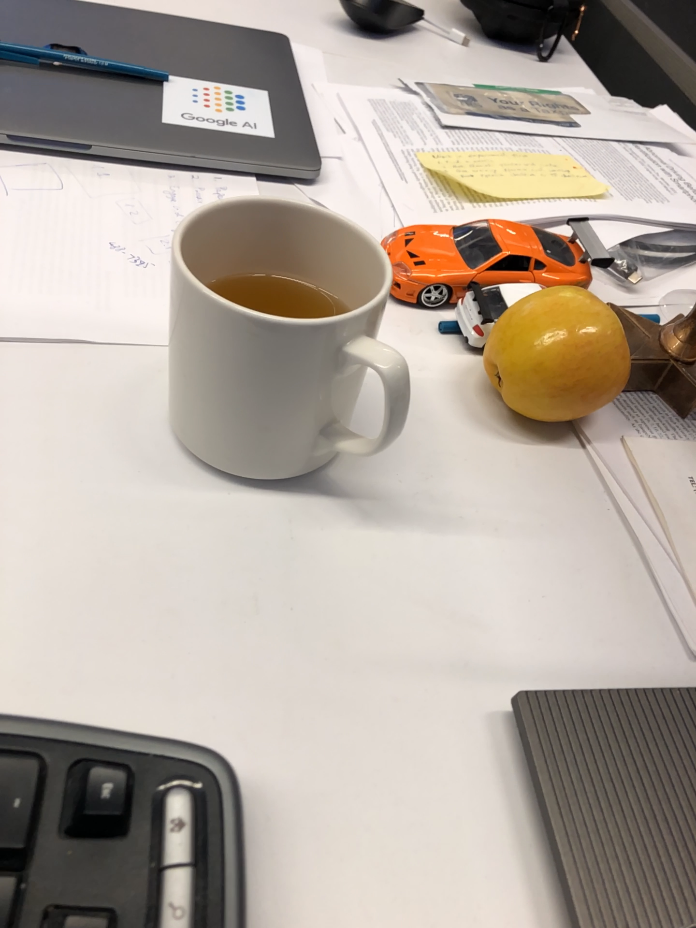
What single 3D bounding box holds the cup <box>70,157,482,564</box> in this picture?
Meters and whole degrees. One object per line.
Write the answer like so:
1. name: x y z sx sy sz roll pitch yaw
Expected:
1. cup: -0.031 -0.044 0.292 0.120 0.080 0.080 36 49 20
